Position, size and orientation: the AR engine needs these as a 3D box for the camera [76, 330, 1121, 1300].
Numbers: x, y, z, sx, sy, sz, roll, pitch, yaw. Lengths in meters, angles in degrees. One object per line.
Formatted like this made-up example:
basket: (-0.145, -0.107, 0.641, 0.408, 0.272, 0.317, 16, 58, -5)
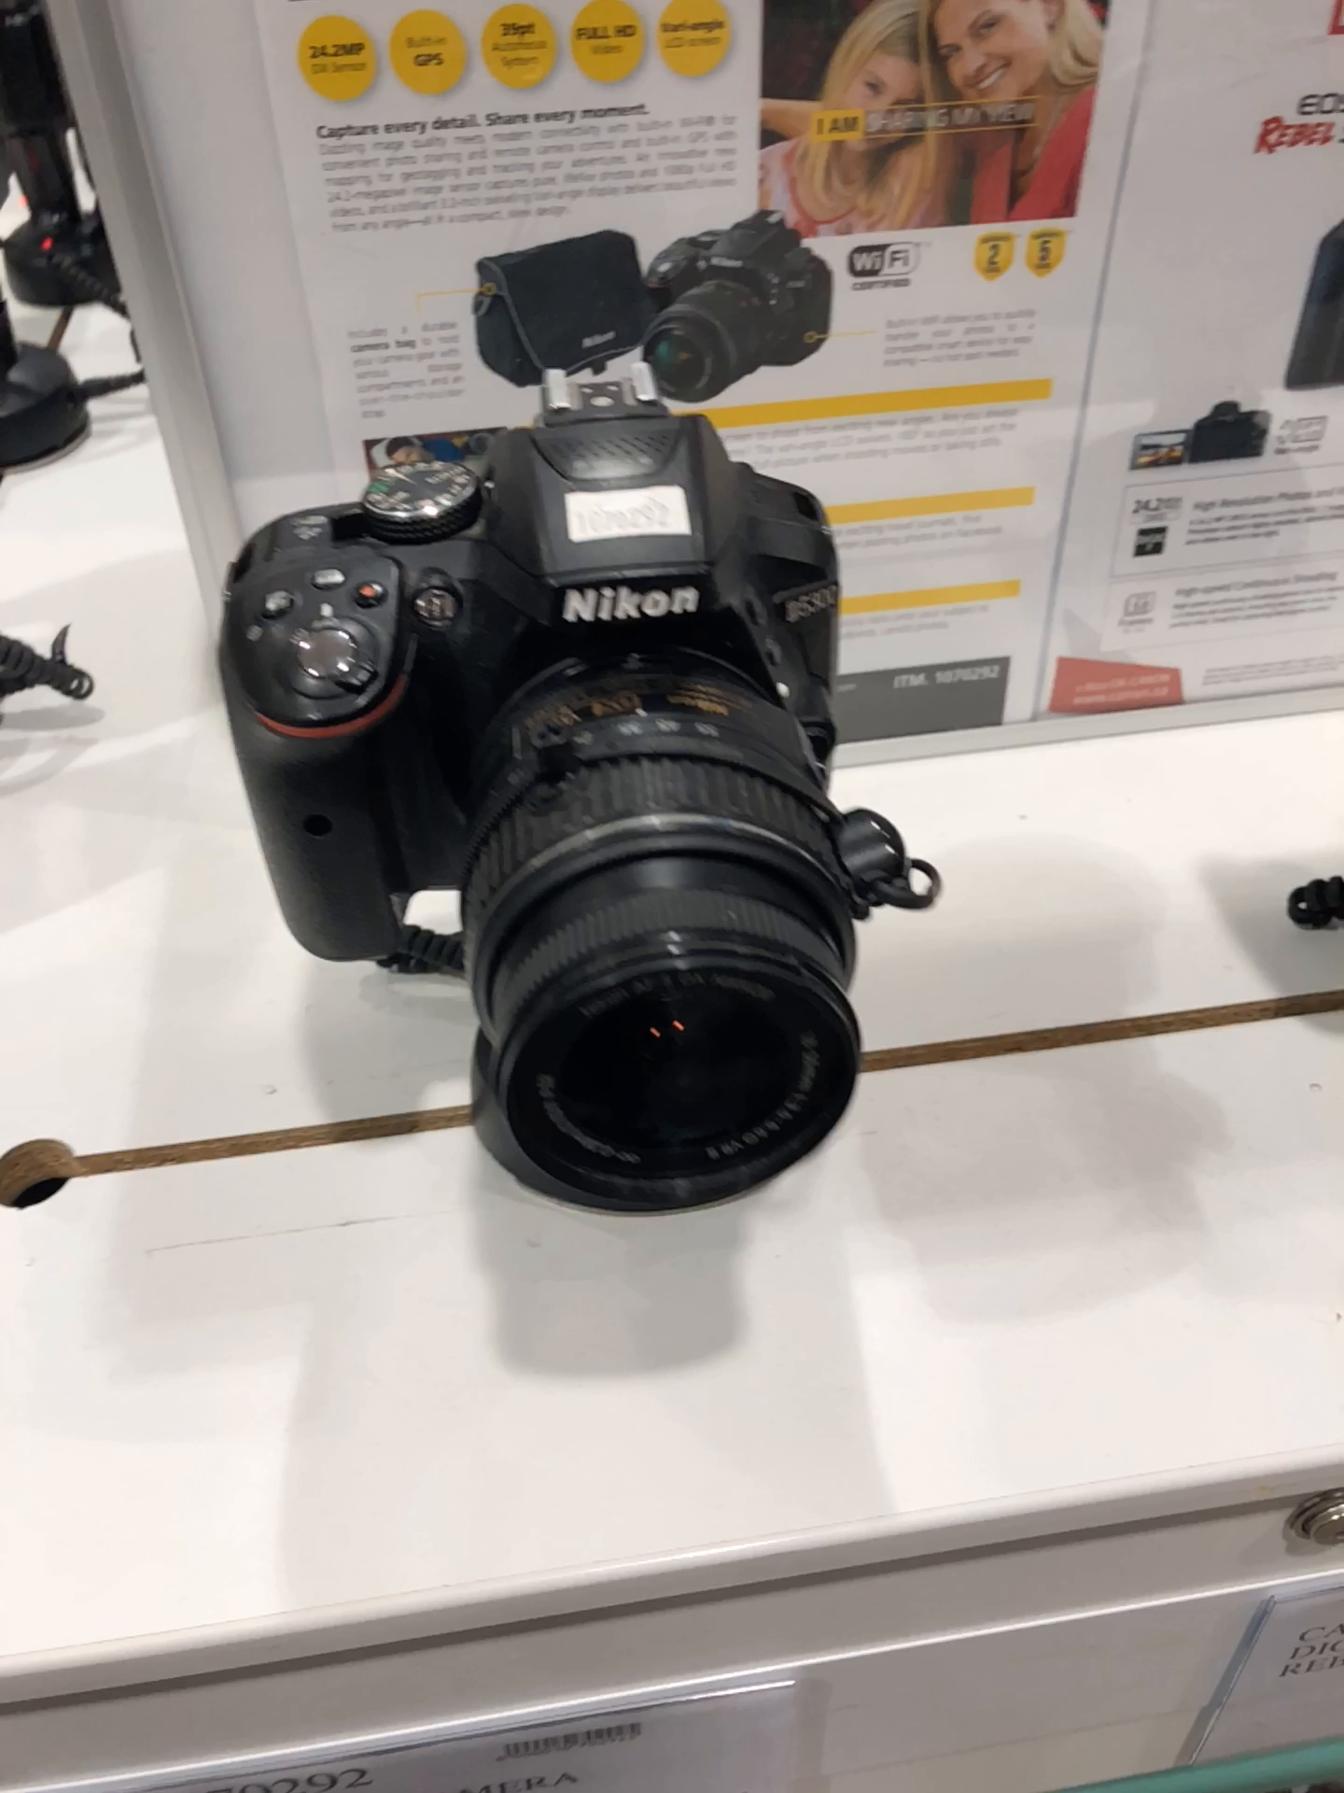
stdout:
camera: (-0.018, -0.025, 0.266, 0.130, 0.090, 0.141, -8, 41, -7)
